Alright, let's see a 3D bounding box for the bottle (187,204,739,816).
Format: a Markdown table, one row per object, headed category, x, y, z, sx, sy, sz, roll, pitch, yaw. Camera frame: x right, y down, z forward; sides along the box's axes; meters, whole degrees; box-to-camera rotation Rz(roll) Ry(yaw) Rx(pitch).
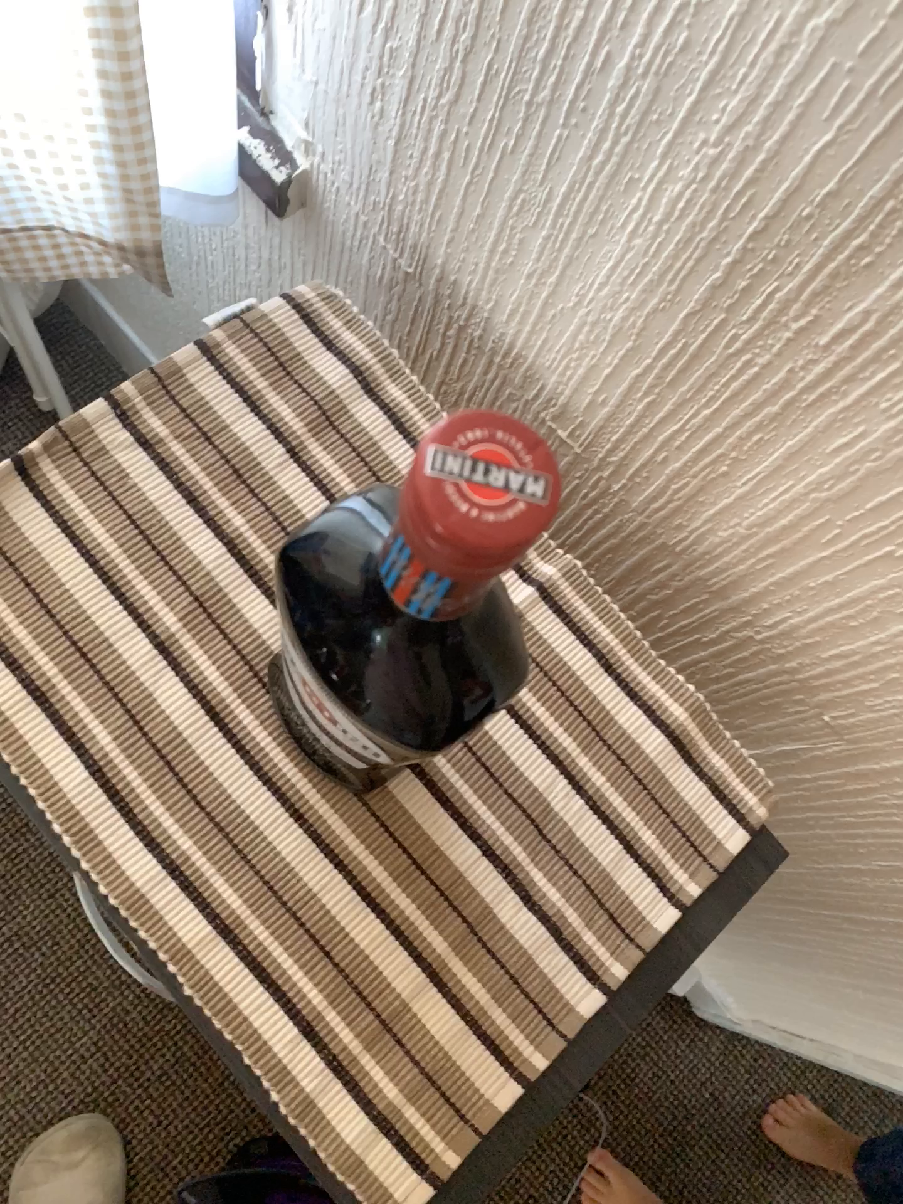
| category | x | y | z | sx | sy | sz | roll | pitch | yaw |
| --- | --- | --- | --- | --- | --- | --- | --- | --- | --- |
| bottle | -0.026 | 0.012 | 0.311 | 0.060 | 0.299 | 0.090 | -37 | 85 | -18 |
